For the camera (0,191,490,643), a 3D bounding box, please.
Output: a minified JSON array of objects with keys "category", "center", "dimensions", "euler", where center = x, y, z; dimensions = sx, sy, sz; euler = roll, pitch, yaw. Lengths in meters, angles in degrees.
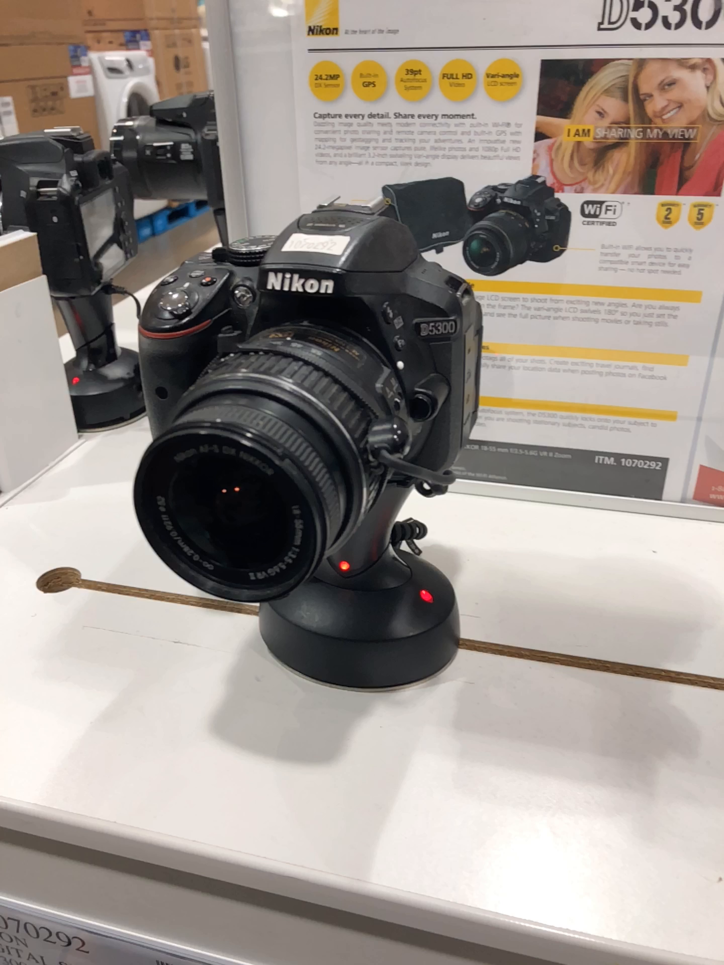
[{"category":"camera","center":[-0.032,-0.036,0.267],"dimensions":[0.130,0.090,0.141],"euler":[6,30,12]}]
